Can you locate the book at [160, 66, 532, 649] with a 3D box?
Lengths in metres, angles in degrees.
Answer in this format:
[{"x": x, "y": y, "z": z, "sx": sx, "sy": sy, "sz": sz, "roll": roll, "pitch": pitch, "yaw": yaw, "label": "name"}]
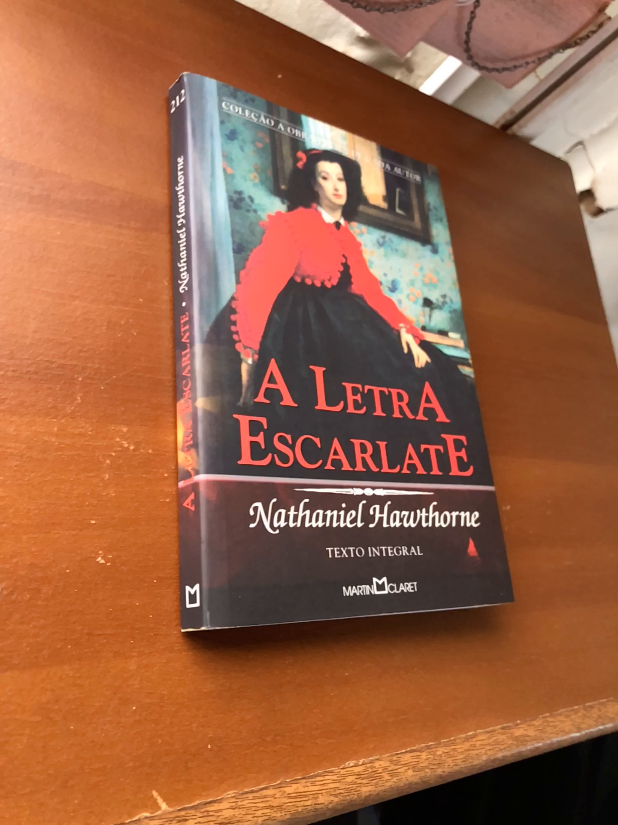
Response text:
[{"x": 0.011, "y": -0.018, "z": 0.218, "sx": 0.112, "sy": 0.015, "sz": 0.166, "roll": 6, "pitch": 68, "yaw": -32, "label": "book"}]
